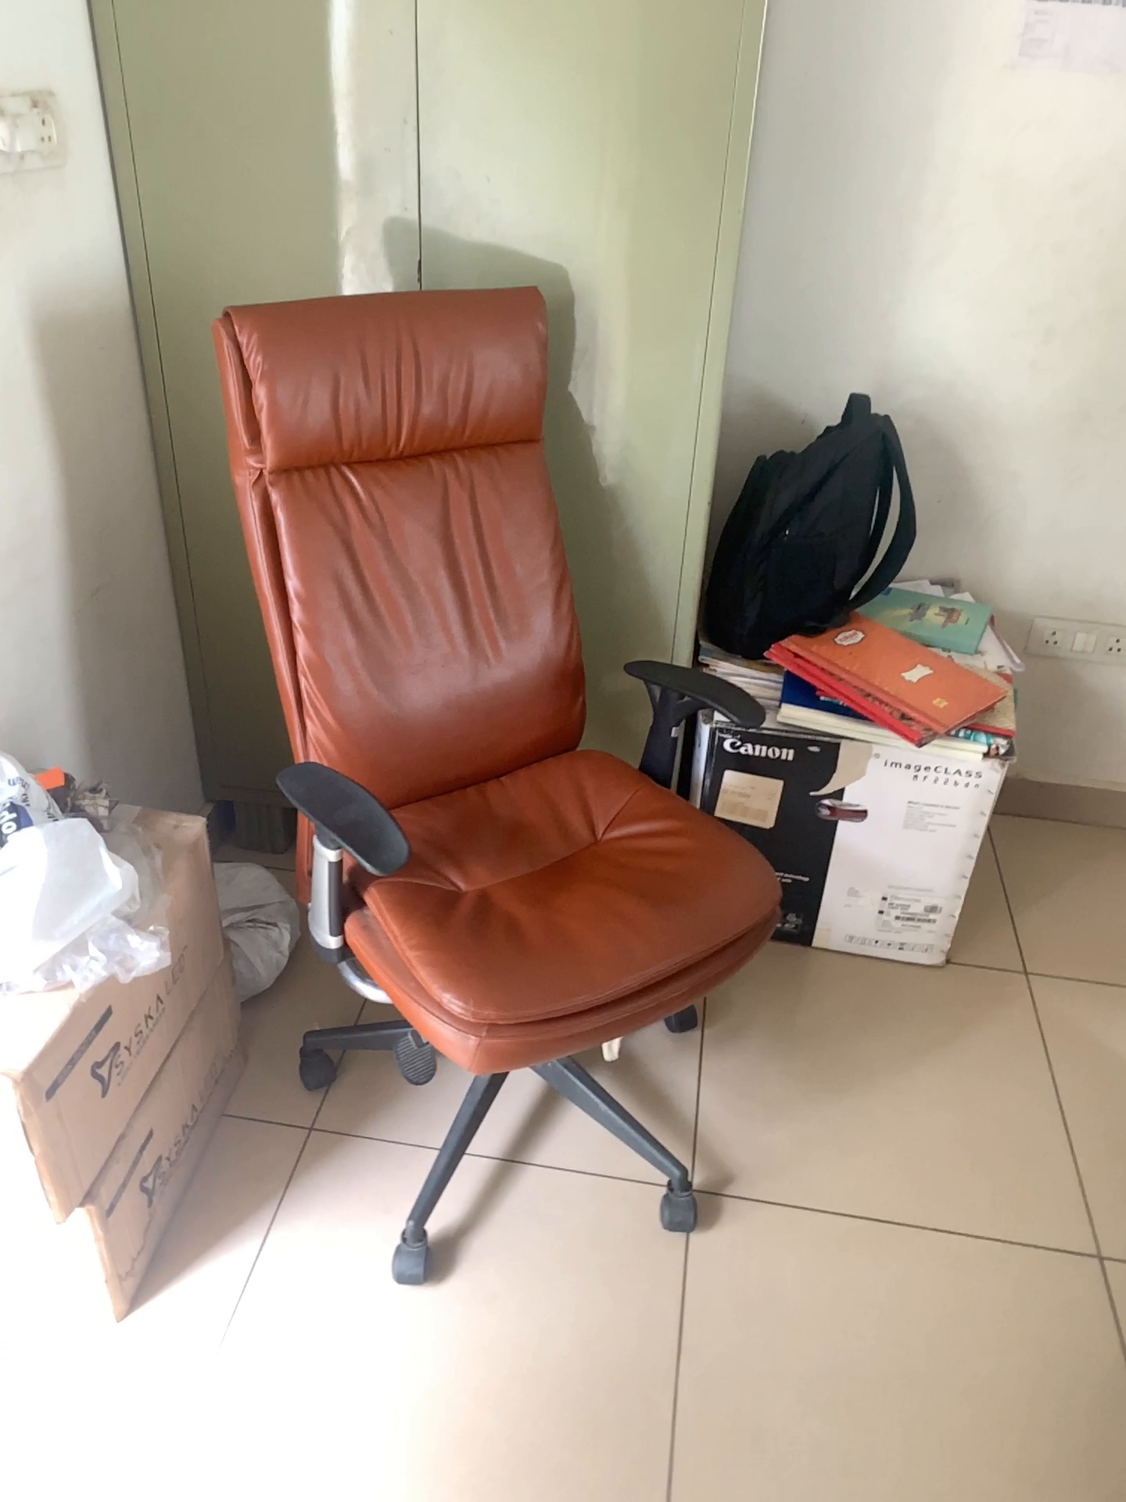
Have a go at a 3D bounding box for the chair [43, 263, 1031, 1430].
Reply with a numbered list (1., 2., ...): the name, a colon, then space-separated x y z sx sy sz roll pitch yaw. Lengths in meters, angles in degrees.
1. chair: -0.120 0.026 1.541 0.691 1.085 0.933 -18 38 -29
